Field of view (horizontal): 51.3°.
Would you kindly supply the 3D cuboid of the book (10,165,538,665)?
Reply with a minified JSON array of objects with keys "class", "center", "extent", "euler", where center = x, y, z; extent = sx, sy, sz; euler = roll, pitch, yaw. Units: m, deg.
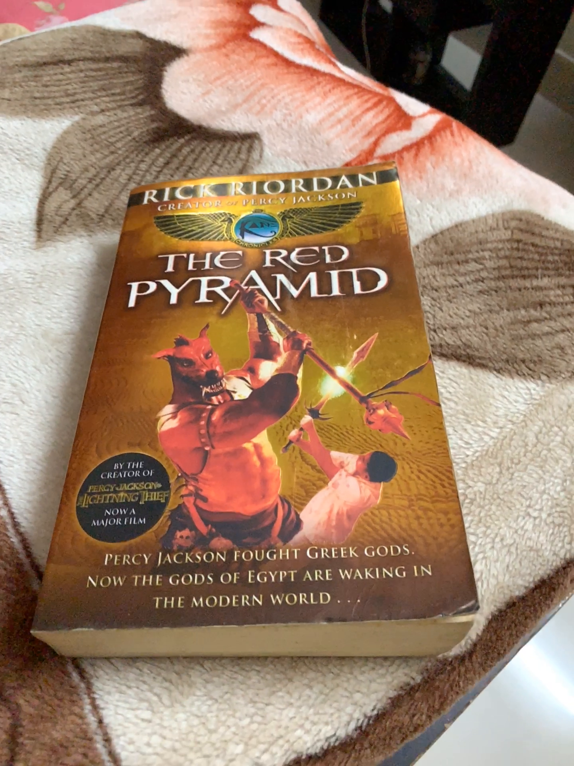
[{"class":"book","center":[-0.005,-0.007,0.252],"extent":[0.150,0.040,0.221],"euler":[-2,53,1]}]
